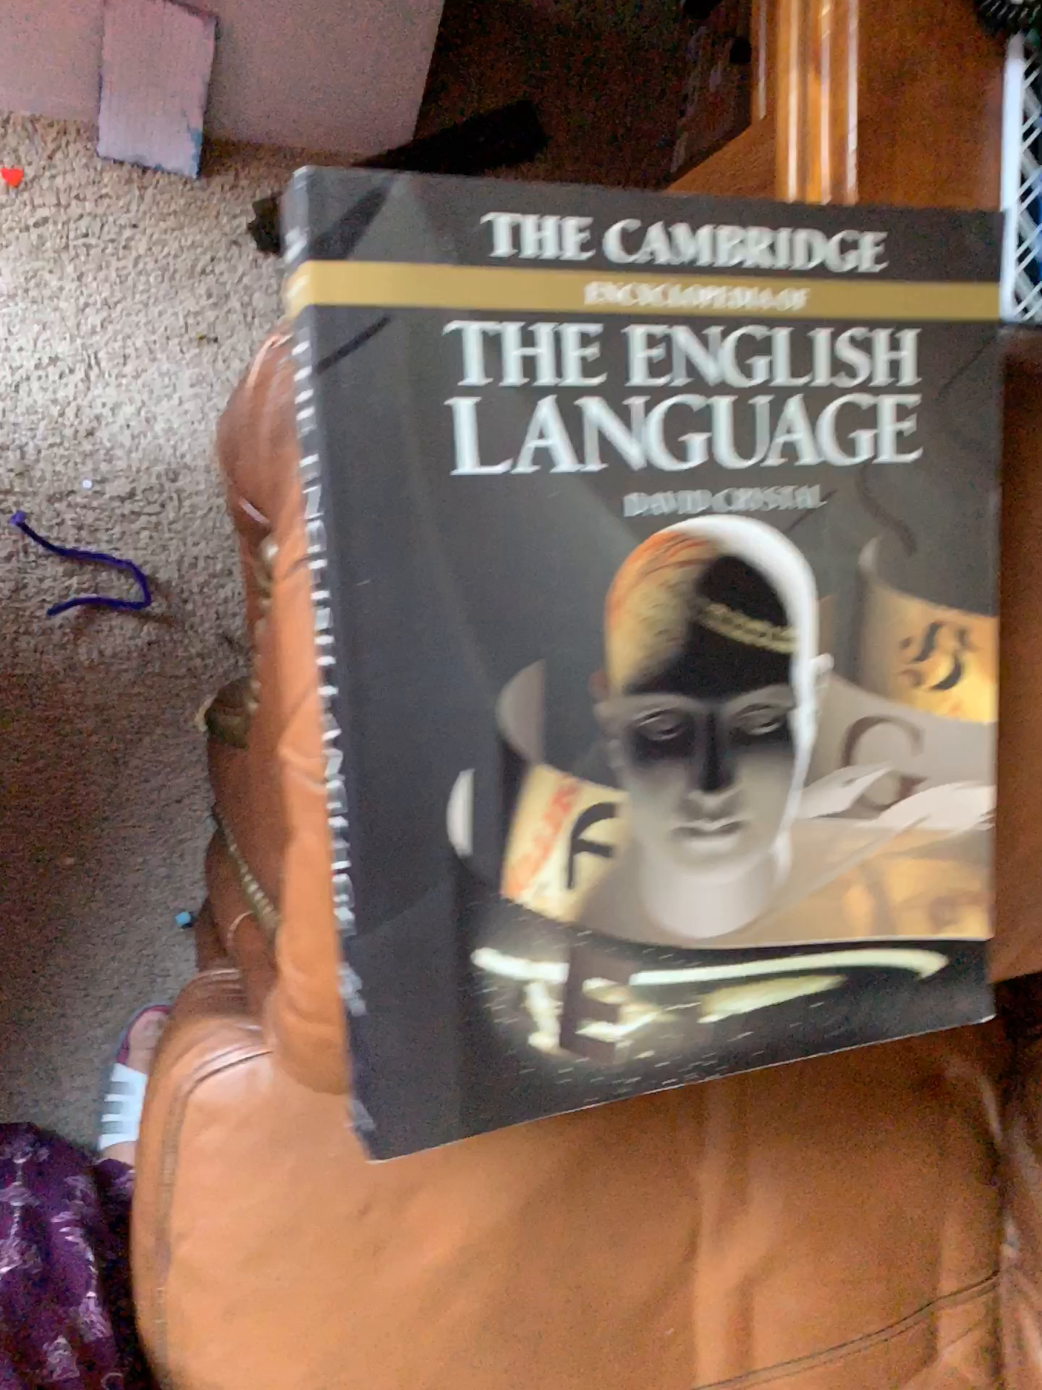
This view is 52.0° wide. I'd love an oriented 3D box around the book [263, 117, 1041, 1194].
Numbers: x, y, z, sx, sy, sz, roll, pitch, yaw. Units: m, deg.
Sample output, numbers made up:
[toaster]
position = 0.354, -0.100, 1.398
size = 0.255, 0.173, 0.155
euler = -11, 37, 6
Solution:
[book]
position = 0.055, -0.015, 0.341
size = 0.241, 0.050, 0.280
euler = -6, 98, -20
